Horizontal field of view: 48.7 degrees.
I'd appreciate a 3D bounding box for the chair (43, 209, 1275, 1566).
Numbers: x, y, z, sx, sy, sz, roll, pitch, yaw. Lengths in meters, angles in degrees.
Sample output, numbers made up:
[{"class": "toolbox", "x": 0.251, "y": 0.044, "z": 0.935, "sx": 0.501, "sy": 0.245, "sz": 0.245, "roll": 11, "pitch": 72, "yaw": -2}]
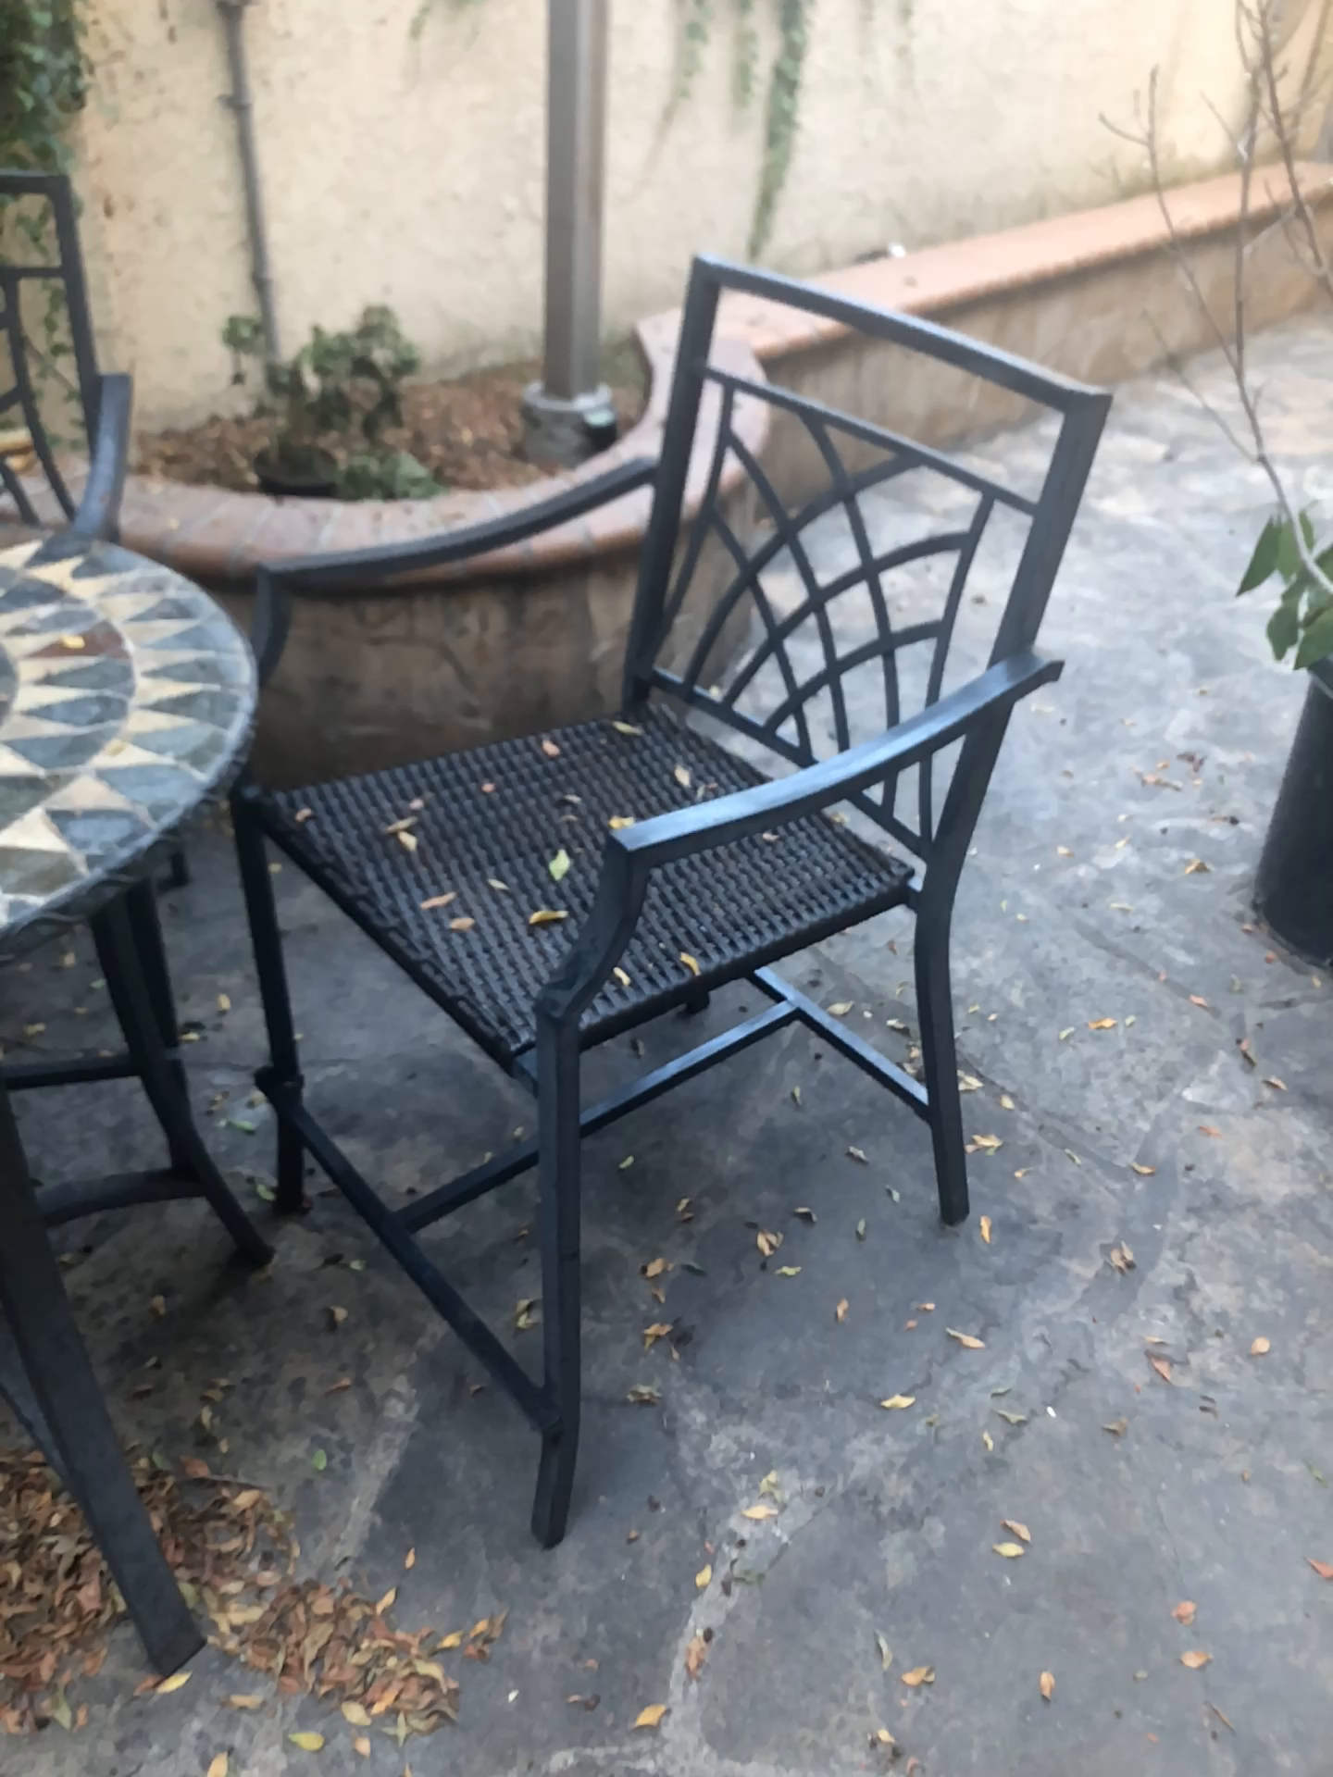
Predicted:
[{"class": "chair", "x": -0.038, "y": -0.059, "z": 1.419, "sx": 0.694, "sy": 0.912, "sz": 0.682, "roll": -24, "pitch": 44, "yaw": -32}]
